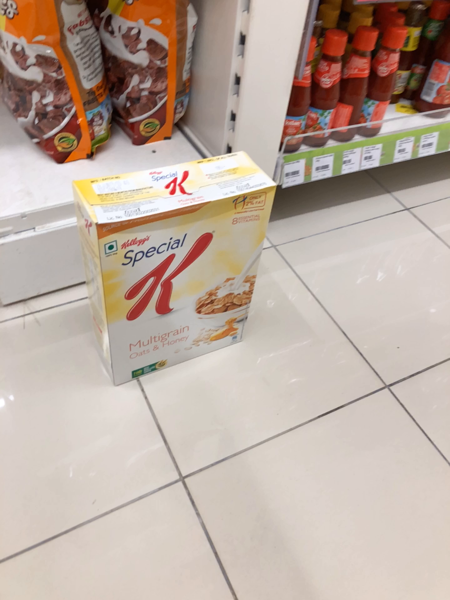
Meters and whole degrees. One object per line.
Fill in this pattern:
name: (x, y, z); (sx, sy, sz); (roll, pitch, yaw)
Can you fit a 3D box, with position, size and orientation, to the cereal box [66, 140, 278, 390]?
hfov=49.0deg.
cereal box: (-0.063, -0.031, 0.570); (0.191, 0.268, 0.070); (-18, 53, -24)
